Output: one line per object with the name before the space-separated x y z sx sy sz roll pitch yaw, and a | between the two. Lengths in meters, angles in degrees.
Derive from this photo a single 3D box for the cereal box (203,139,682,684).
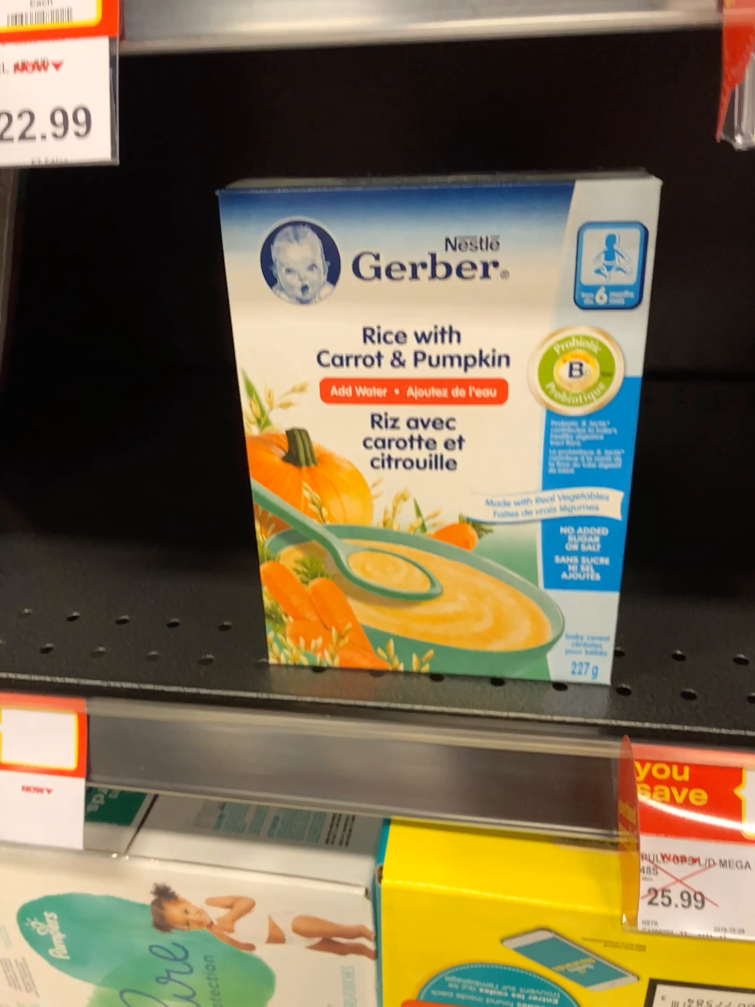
cereal box | 0.024 -0.028 0.325 0.150 0.199 0.040 2 26 8
